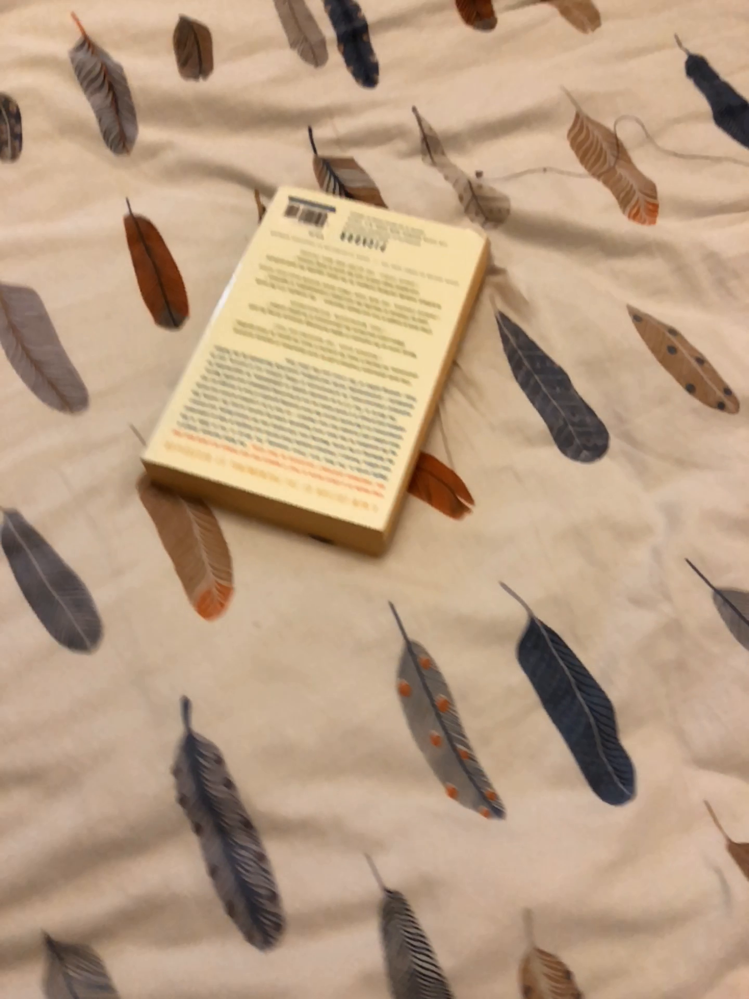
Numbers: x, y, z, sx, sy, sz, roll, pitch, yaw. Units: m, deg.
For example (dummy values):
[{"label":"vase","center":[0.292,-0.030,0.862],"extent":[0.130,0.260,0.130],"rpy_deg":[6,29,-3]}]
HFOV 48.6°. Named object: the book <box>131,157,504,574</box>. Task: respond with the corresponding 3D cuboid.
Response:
[{"label":"book","center":[-0.025,-0.085,0.486],"extent":[0.150,0.040,0.221],"rpy_deg":[17,68,2]}]
